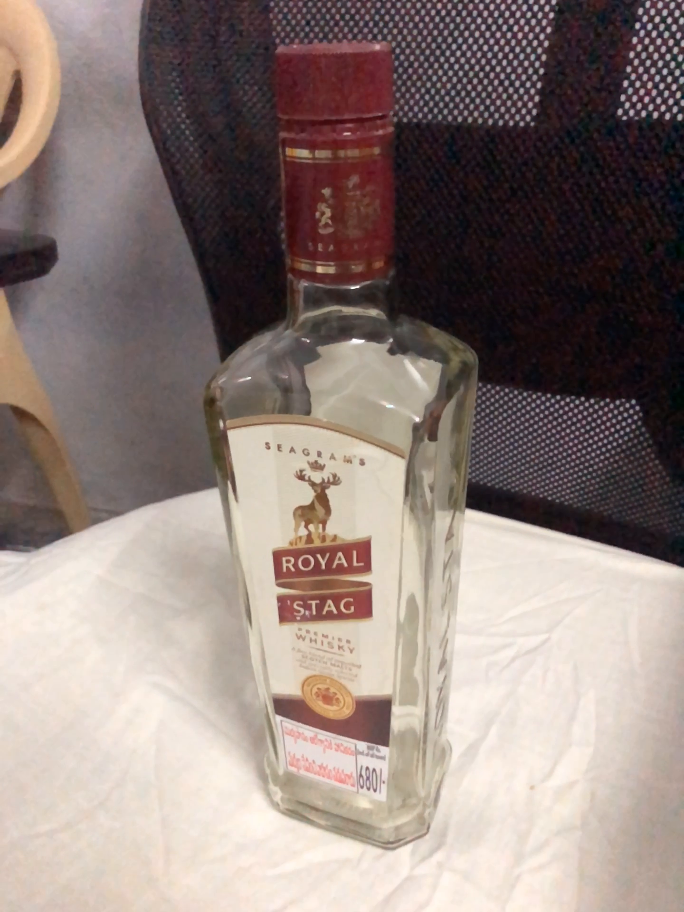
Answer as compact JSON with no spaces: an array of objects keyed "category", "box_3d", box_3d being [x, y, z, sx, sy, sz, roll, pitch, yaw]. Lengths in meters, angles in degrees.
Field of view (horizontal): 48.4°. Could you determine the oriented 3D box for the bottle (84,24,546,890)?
[{"category":"bottle","box_3d":[-0.002,0.020,0.250,0.090,0.279,0.060,12,34,20]}]
